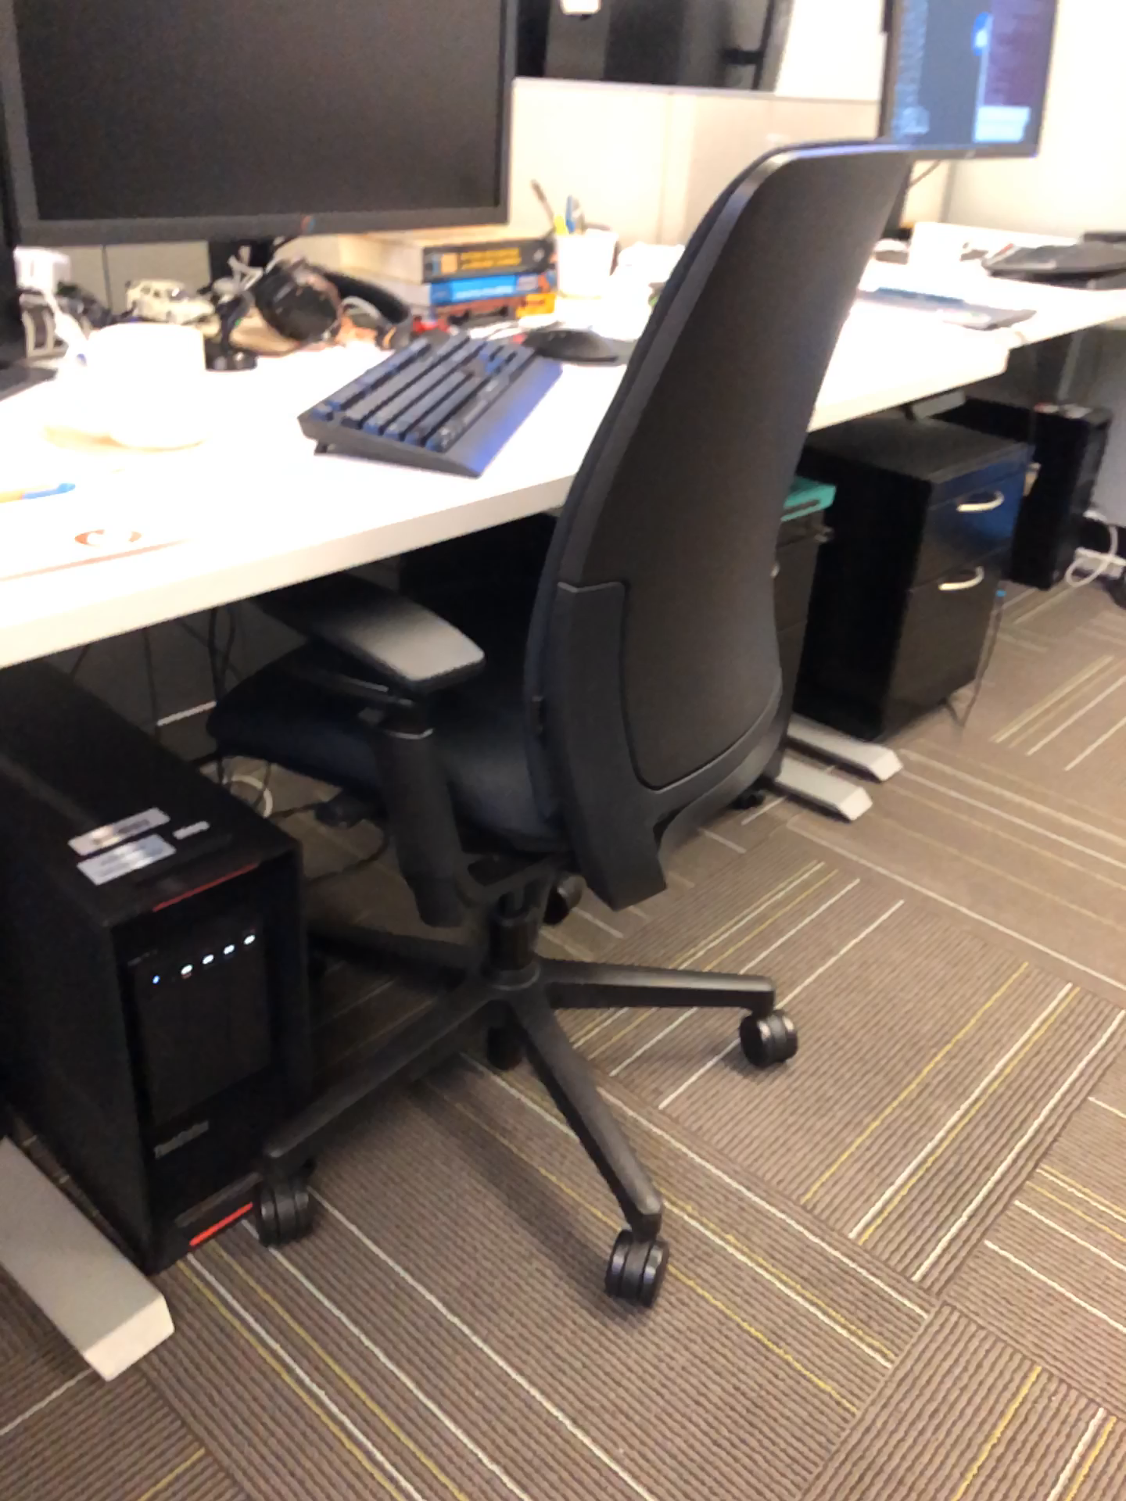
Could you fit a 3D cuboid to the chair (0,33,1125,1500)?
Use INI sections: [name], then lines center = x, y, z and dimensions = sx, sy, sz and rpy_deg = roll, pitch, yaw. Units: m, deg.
[chair]
center = 0.027, -0.055, 1.173
dimensions = 0.661, 1.014, 0.783
rpy_deg = 25, 35, 33
